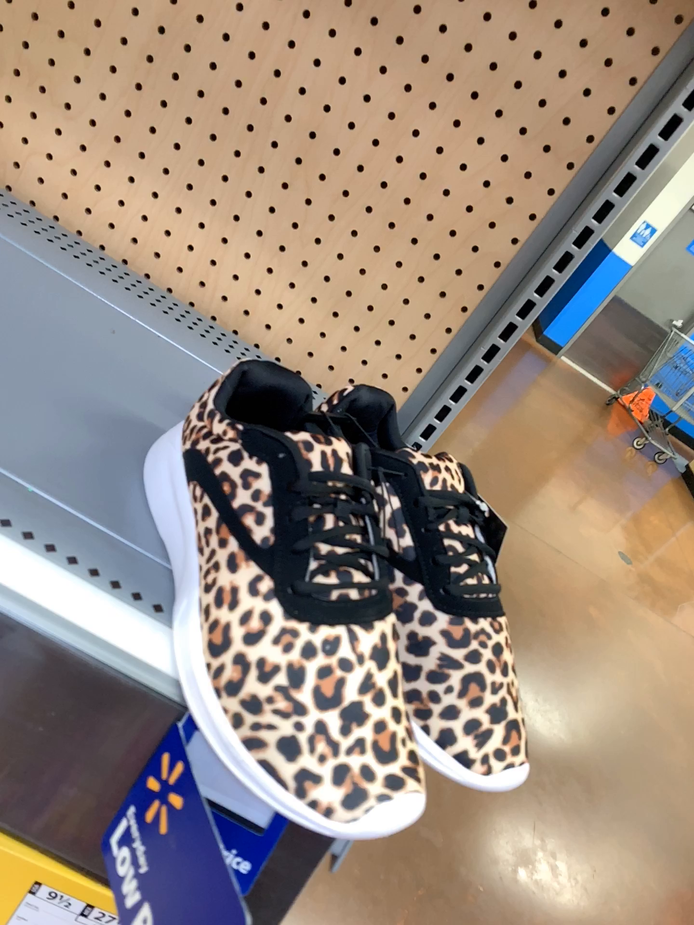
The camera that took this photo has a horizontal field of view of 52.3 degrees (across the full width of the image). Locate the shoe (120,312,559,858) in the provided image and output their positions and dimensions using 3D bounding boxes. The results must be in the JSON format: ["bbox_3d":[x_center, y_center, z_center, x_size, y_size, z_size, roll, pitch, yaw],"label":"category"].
[{"bbox_3d":[-0.023,0.045,0.360,0.120,0.091,0.241,12,37,-38],"label":"shoe"}]

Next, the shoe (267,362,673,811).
[{"bbox_3d":[0.059,0.059,0.430,0.110,0.091,0.241,9,39,-41],"label":"shoe"}]
